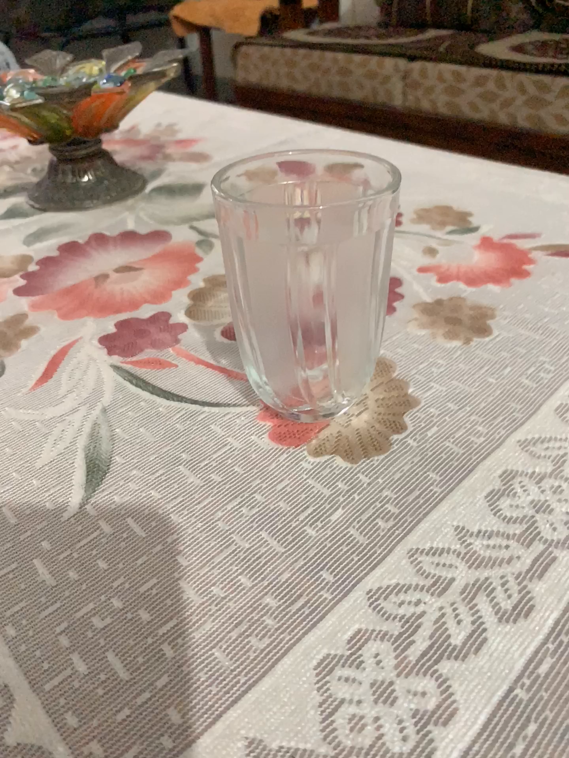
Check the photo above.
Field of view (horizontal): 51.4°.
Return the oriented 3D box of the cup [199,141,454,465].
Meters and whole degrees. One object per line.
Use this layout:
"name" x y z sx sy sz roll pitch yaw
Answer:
"cup" 0.014 -0.033 0.245 0.070 0.100 0.070 -3 36 2
